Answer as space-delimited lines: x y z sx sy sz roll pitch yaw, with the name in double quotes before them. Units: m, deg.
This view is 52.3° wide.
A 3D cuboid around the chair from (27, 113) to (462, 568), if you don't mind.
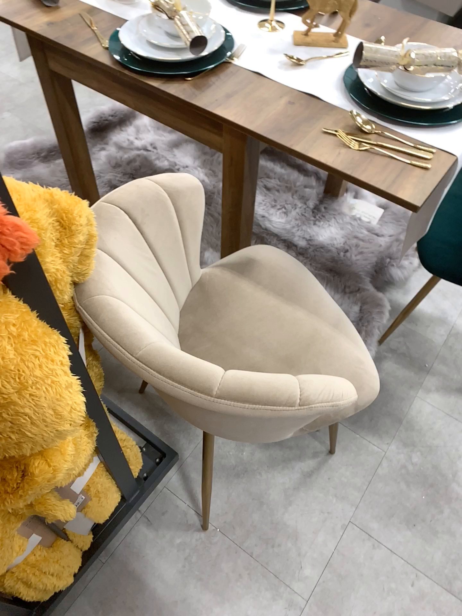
"chair" -0.002 0.103 1.053 0.536 0.723 0.564 -22 57 -17
